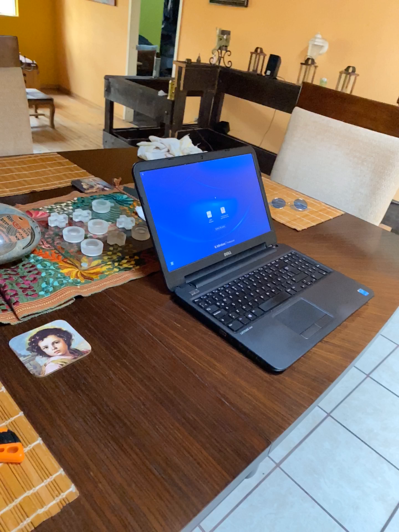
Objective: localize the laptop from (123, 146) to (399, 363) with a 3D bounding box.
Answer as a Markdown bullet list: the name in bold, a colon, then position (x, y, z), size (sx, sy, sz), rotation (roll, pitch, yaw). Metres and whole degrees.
- **laptop**: position (0.121, -0.071, 0.824), size (0.395, 0.194, 0.369), rotation (33, 37, 32)
